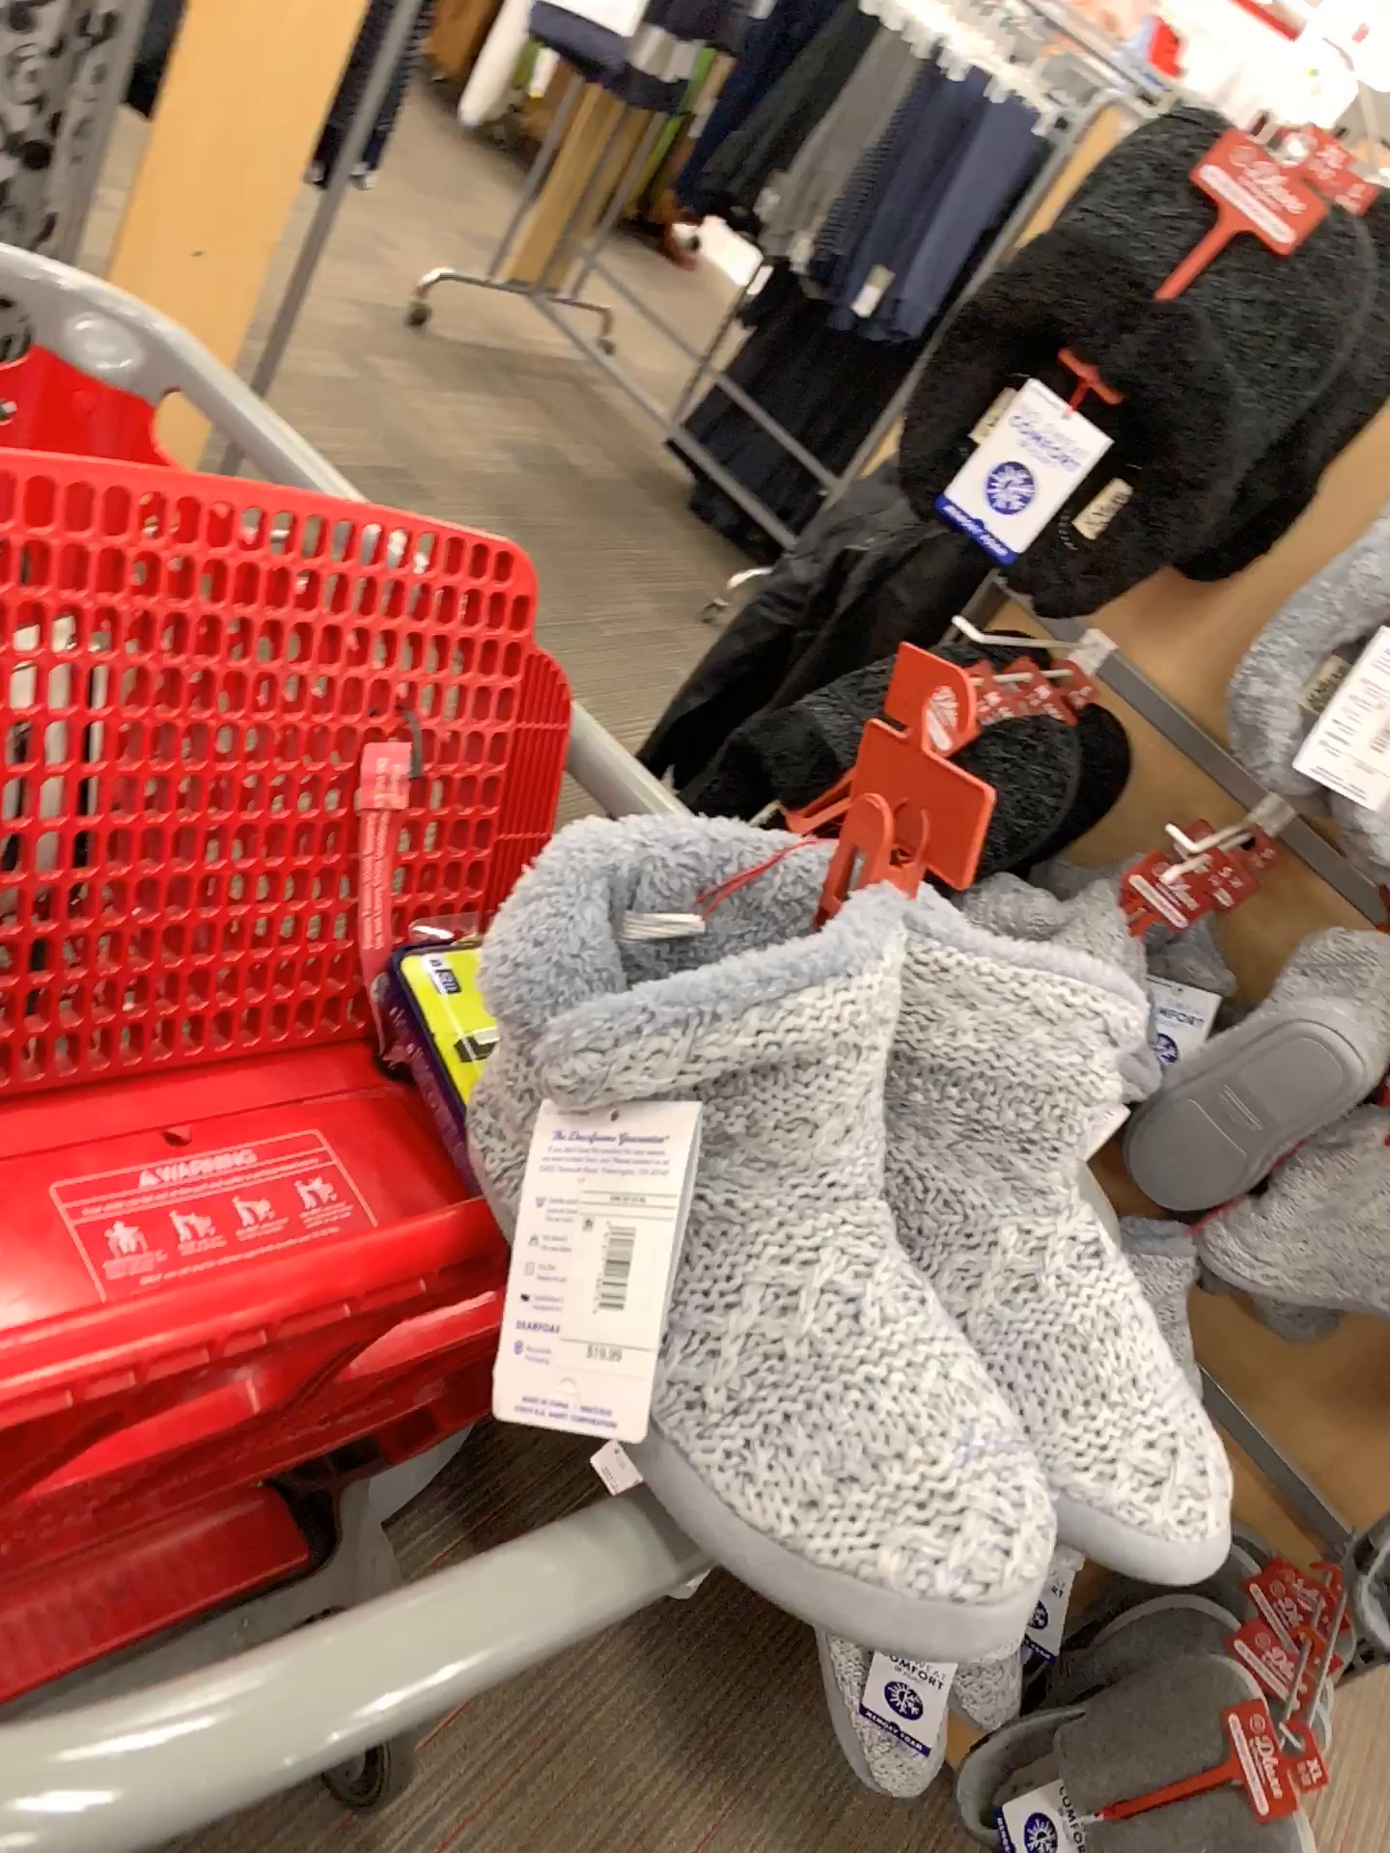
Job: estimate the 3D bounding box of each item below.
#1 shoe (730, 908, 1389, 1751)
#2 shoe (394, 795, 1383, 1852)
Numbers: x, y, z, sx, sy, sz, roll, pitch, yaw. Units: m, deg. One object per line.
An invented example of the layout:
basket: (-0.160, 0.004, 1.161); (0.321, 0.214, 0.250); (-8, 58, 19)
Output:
shoe: (0.141, 0.117, 0.483); (0.110, 0.119, 0.230); (-3, 45, -45)
shoe: (0.037, 0.095, 0.420); (0.110, 0.139, 0.250); (-3, 45, -45)
